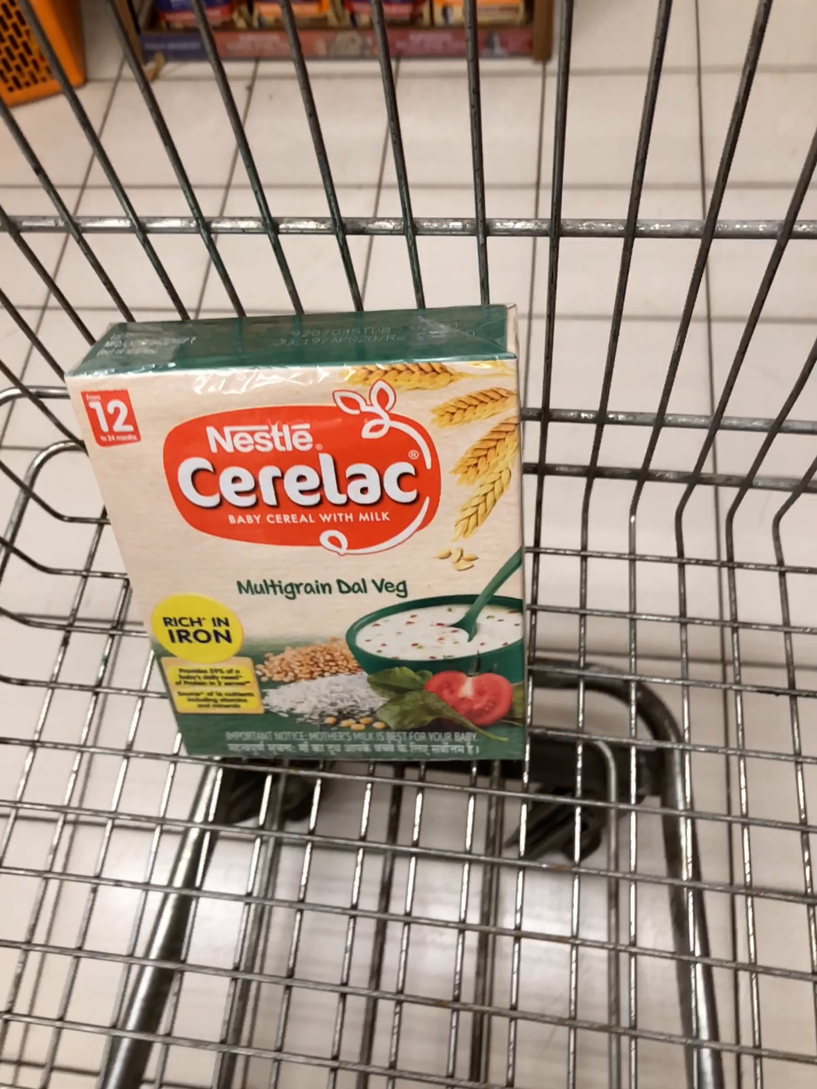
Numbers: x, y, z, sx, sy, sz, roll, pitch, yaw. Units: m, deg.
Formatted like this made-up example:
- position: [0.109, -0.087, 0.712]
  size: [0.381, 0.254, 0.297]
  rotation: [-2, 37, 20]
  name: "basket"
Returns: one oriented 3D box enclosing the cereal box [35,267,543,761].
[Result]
- position: [-0.031, -0.002, 0.354]
  size: [0.160, 0.189, 0.050]
  rotation: [-1, 34, 6]
  name: "cereal box"
